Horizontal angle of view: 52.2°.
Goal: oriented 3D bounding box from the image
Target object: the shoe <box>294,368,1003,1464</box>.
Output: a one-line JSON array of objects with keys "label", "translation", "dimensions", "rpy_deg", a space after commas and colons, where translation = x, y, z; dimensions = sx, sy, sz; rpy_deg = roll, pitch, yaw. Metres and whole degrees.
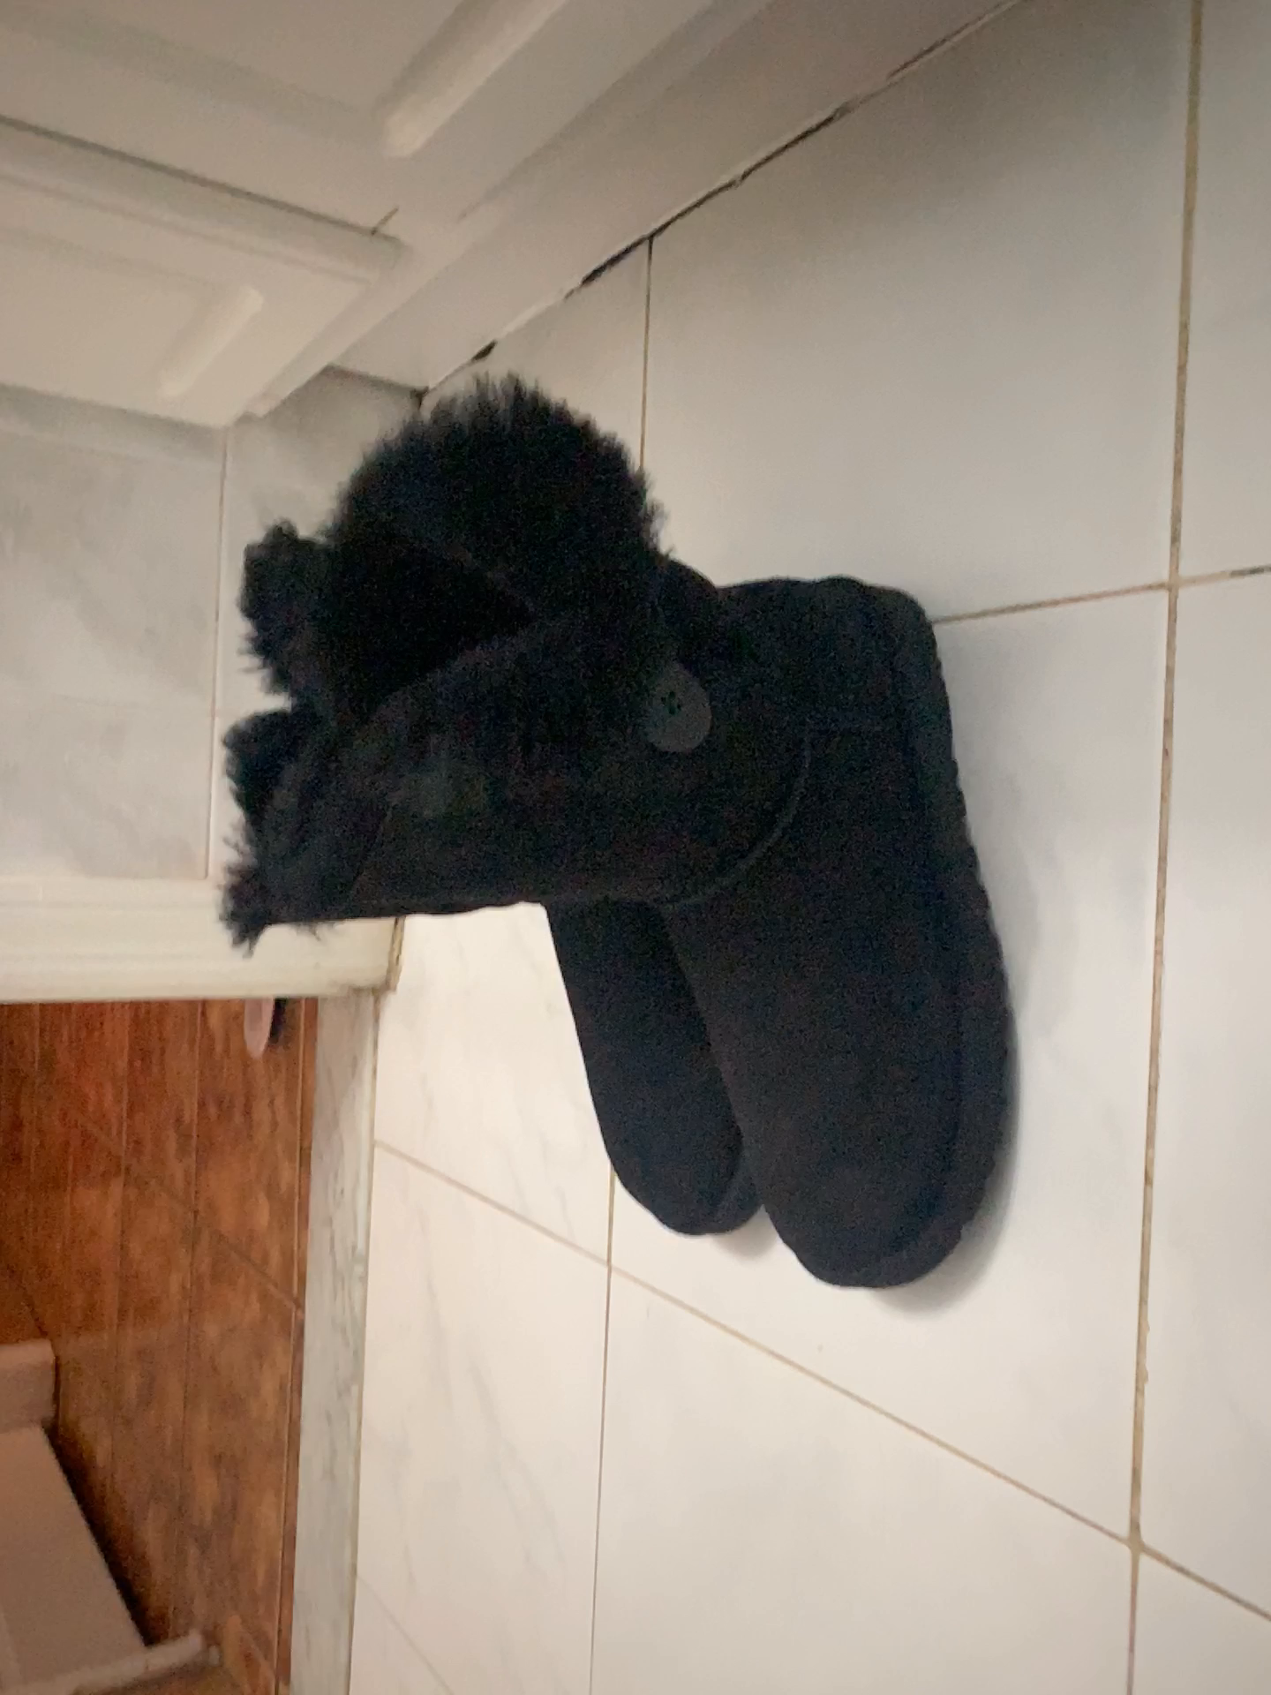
[{"label": "shoe", "translation": [0.001, 0.020, 0.427], "dimensions": [0.111, 0.189, 0.280], "rpy_deg": [-14, 77, 56]}]

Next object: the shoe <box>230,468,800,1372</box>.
[{"label": "shoe", "translation": [-0.053, 0.028, 0.509], "dimensions": [0.121, 0.169, 0.290], "rpy_deg": [-18, 74, 55]}]
